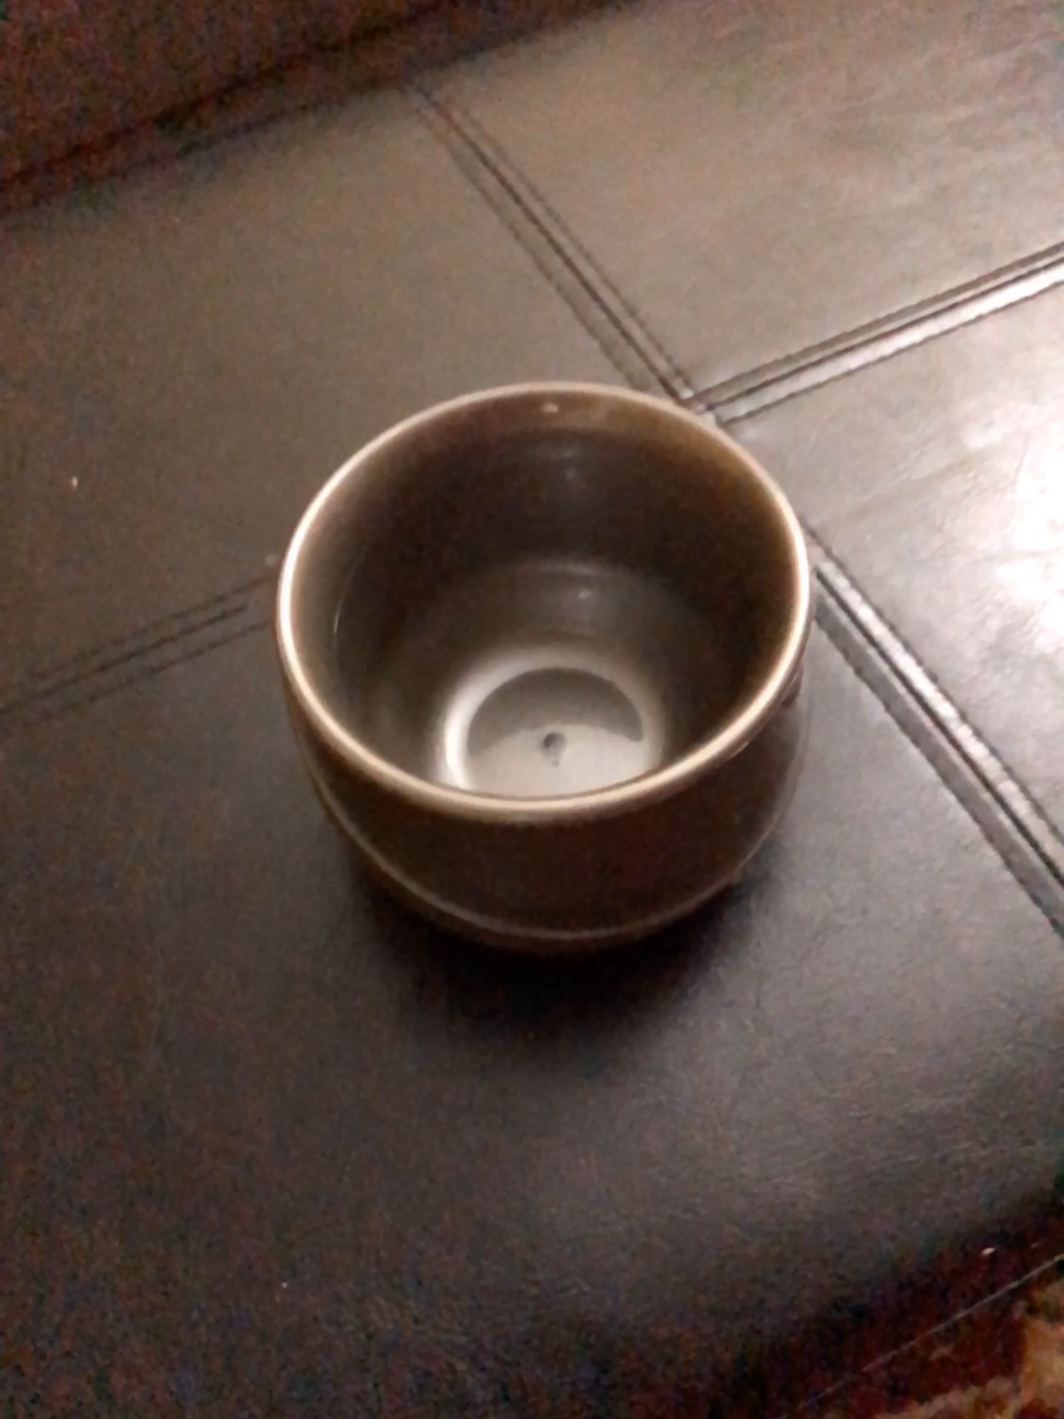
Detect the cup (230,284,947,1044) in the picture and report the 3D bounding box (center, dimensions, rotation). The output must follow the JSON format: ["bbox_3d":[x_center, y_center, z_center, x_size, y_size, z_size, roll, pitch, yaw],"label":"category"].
[{"bbox_3d":[0.004,-0.007,0.202,0.083,0.066,0.090,-2,59,3],"label":"cup"}]
